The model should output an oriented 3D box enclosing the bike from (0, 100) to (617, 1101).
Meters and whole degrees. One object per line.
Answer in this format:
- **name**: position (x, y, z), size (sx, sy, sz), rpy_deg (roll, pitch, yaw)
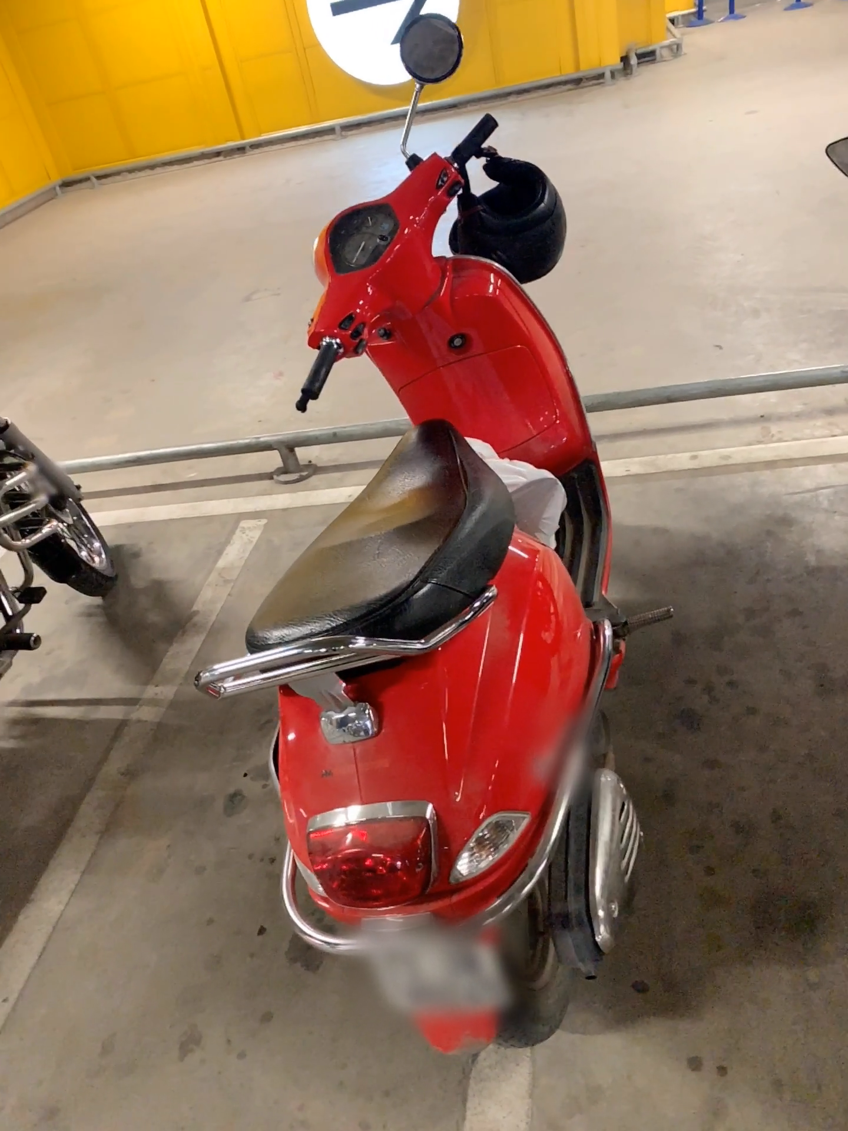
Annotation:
- **bike**: position (-0.085, -0.106, 1.759), size (0.632, 1.201, 1.688), rpy_deg (-8, 34, 9)
